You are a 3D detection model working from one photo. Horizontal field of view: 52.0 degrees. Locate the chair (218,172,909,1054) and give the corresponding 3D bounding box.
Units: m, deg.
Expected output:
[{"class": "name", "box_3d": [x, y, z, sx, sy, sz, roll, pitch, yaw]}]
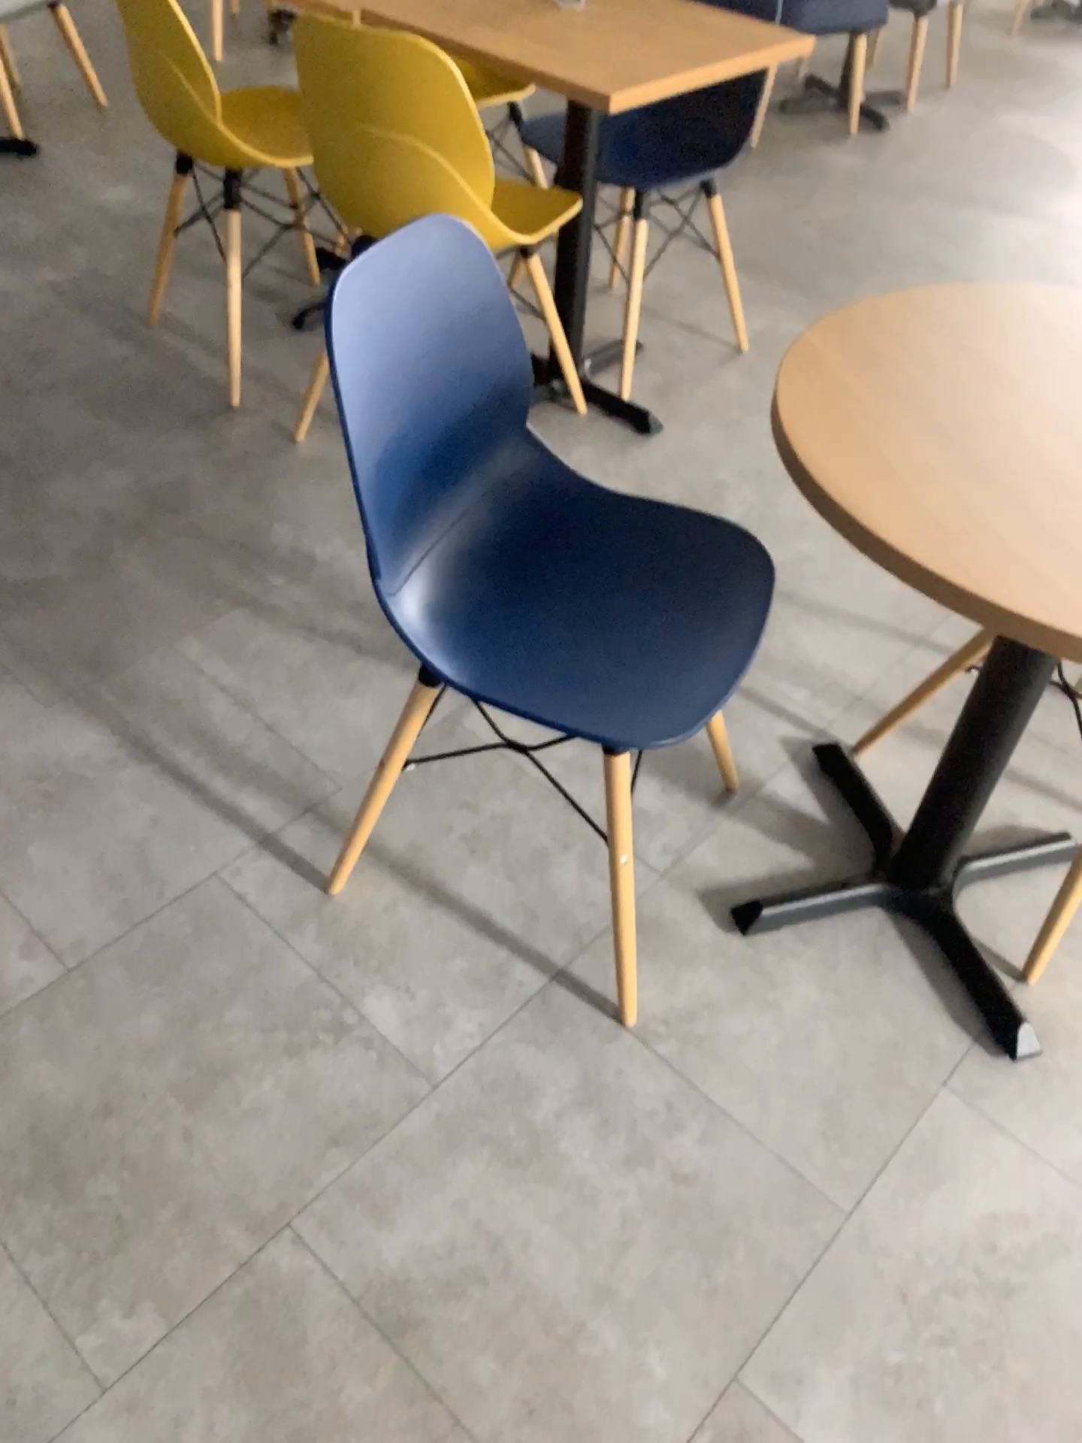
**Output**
[{"class": "chair", "box_3d": [0.026, -0.111, 1.334, 0.497, 0.809, 0.494, 21, 47, 16]}]
